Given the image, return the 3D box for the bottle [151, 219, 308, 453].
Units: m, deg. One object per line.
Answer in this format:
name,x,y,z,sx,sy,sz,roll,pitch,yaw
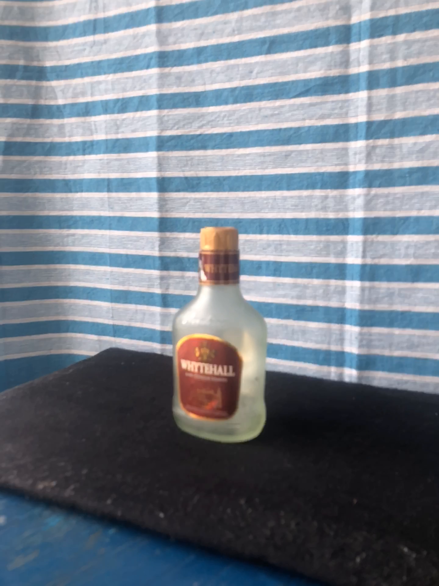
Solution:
bottle,0.006,0.020,0.310,0.080,0.130,0.060,6,12,27
